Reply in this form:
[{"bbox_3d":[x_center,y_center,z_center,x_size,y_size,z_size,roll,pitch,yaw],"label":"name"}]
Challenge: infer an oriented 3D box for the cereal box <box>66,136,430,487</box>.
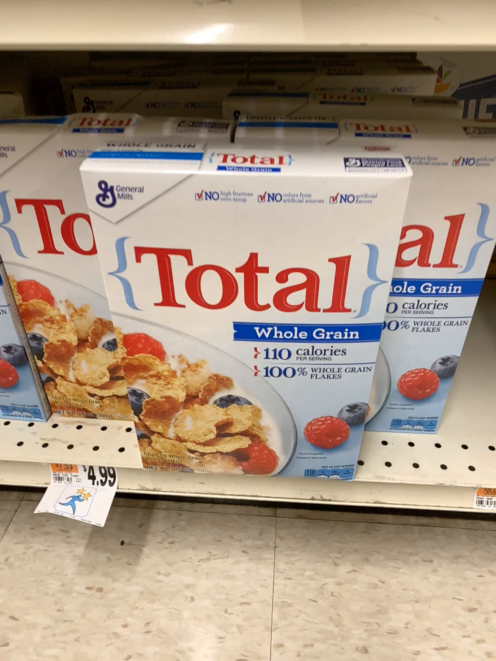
[{"bbox_3d":[0.001,0.006,0.382,0.200,0.278,0.050,3,38,4],"label":"cereal box"}]
